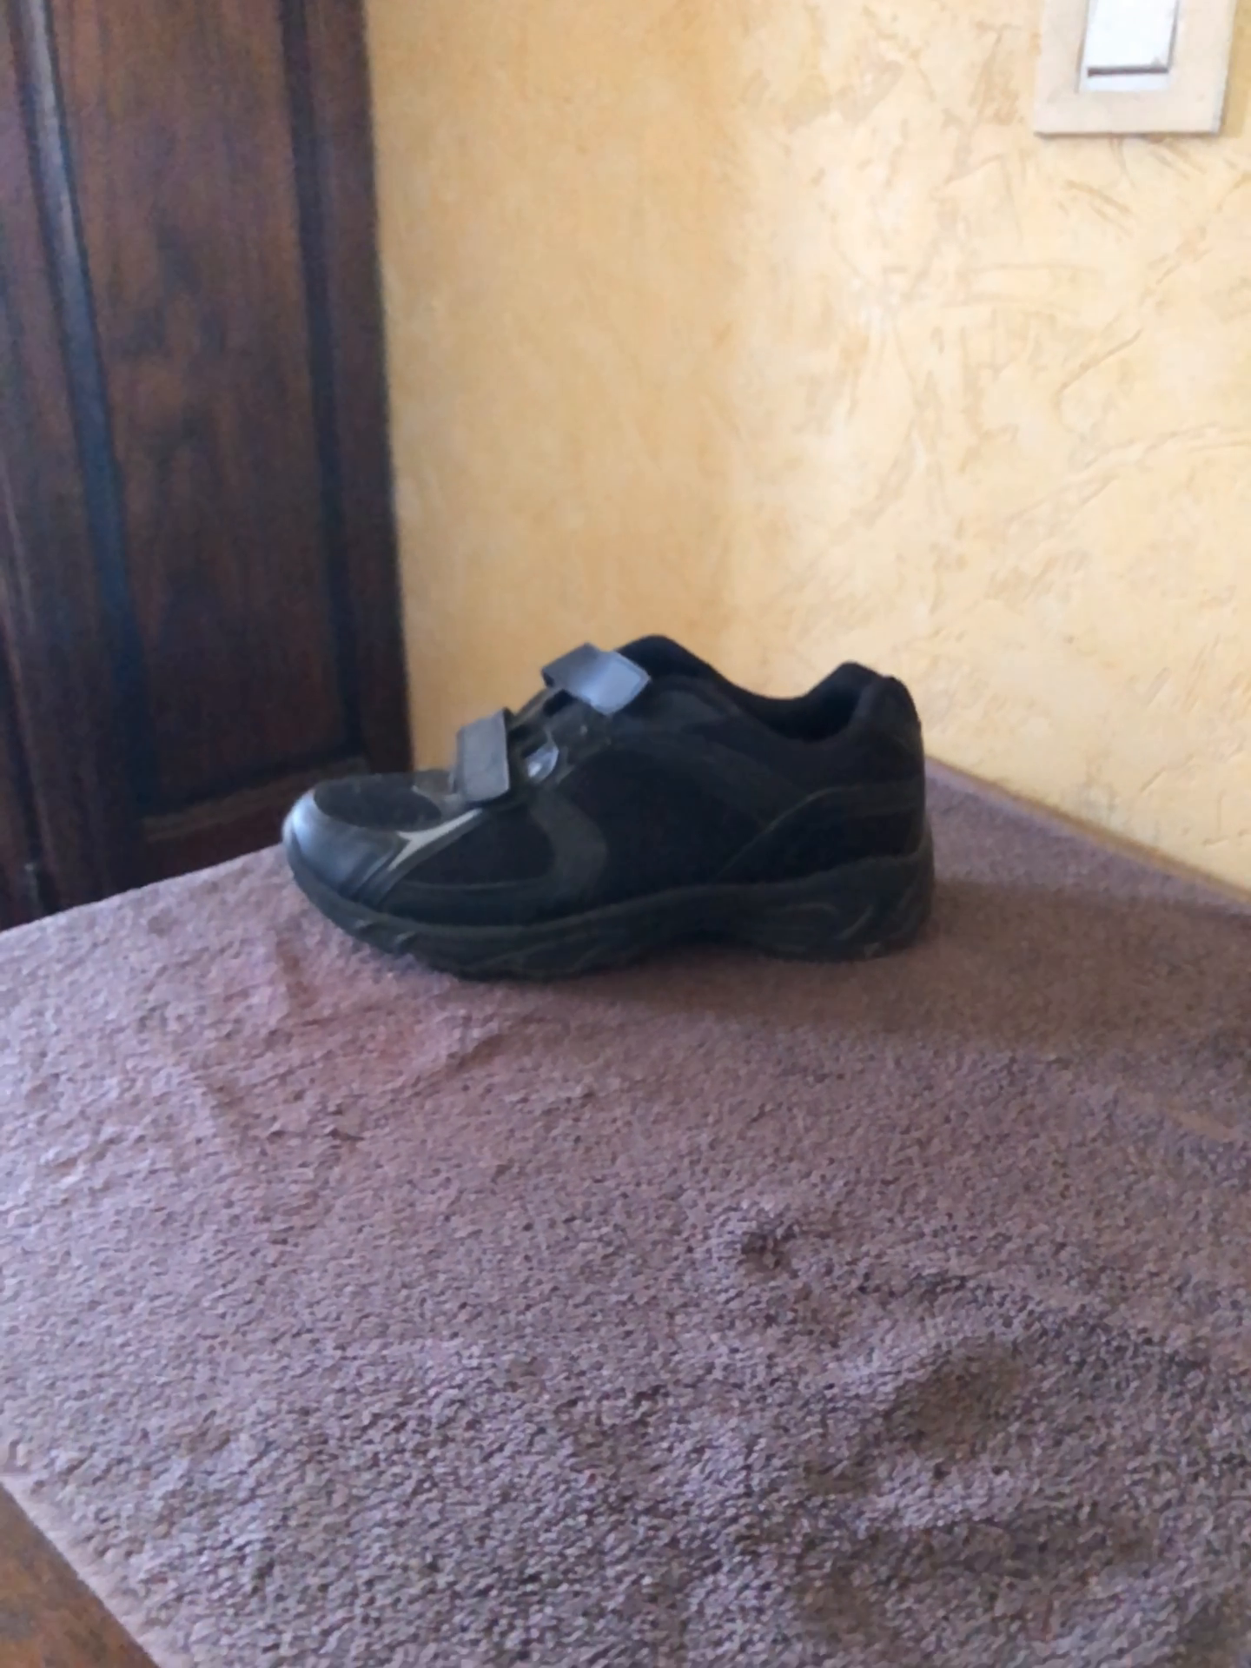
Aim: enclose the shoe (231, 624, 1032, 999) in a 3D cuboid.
[{"bbox_3d":[0.002,-0.013,0.541,0.270,0.109,0.111,0,25,-1],"label":"shoe"}]
